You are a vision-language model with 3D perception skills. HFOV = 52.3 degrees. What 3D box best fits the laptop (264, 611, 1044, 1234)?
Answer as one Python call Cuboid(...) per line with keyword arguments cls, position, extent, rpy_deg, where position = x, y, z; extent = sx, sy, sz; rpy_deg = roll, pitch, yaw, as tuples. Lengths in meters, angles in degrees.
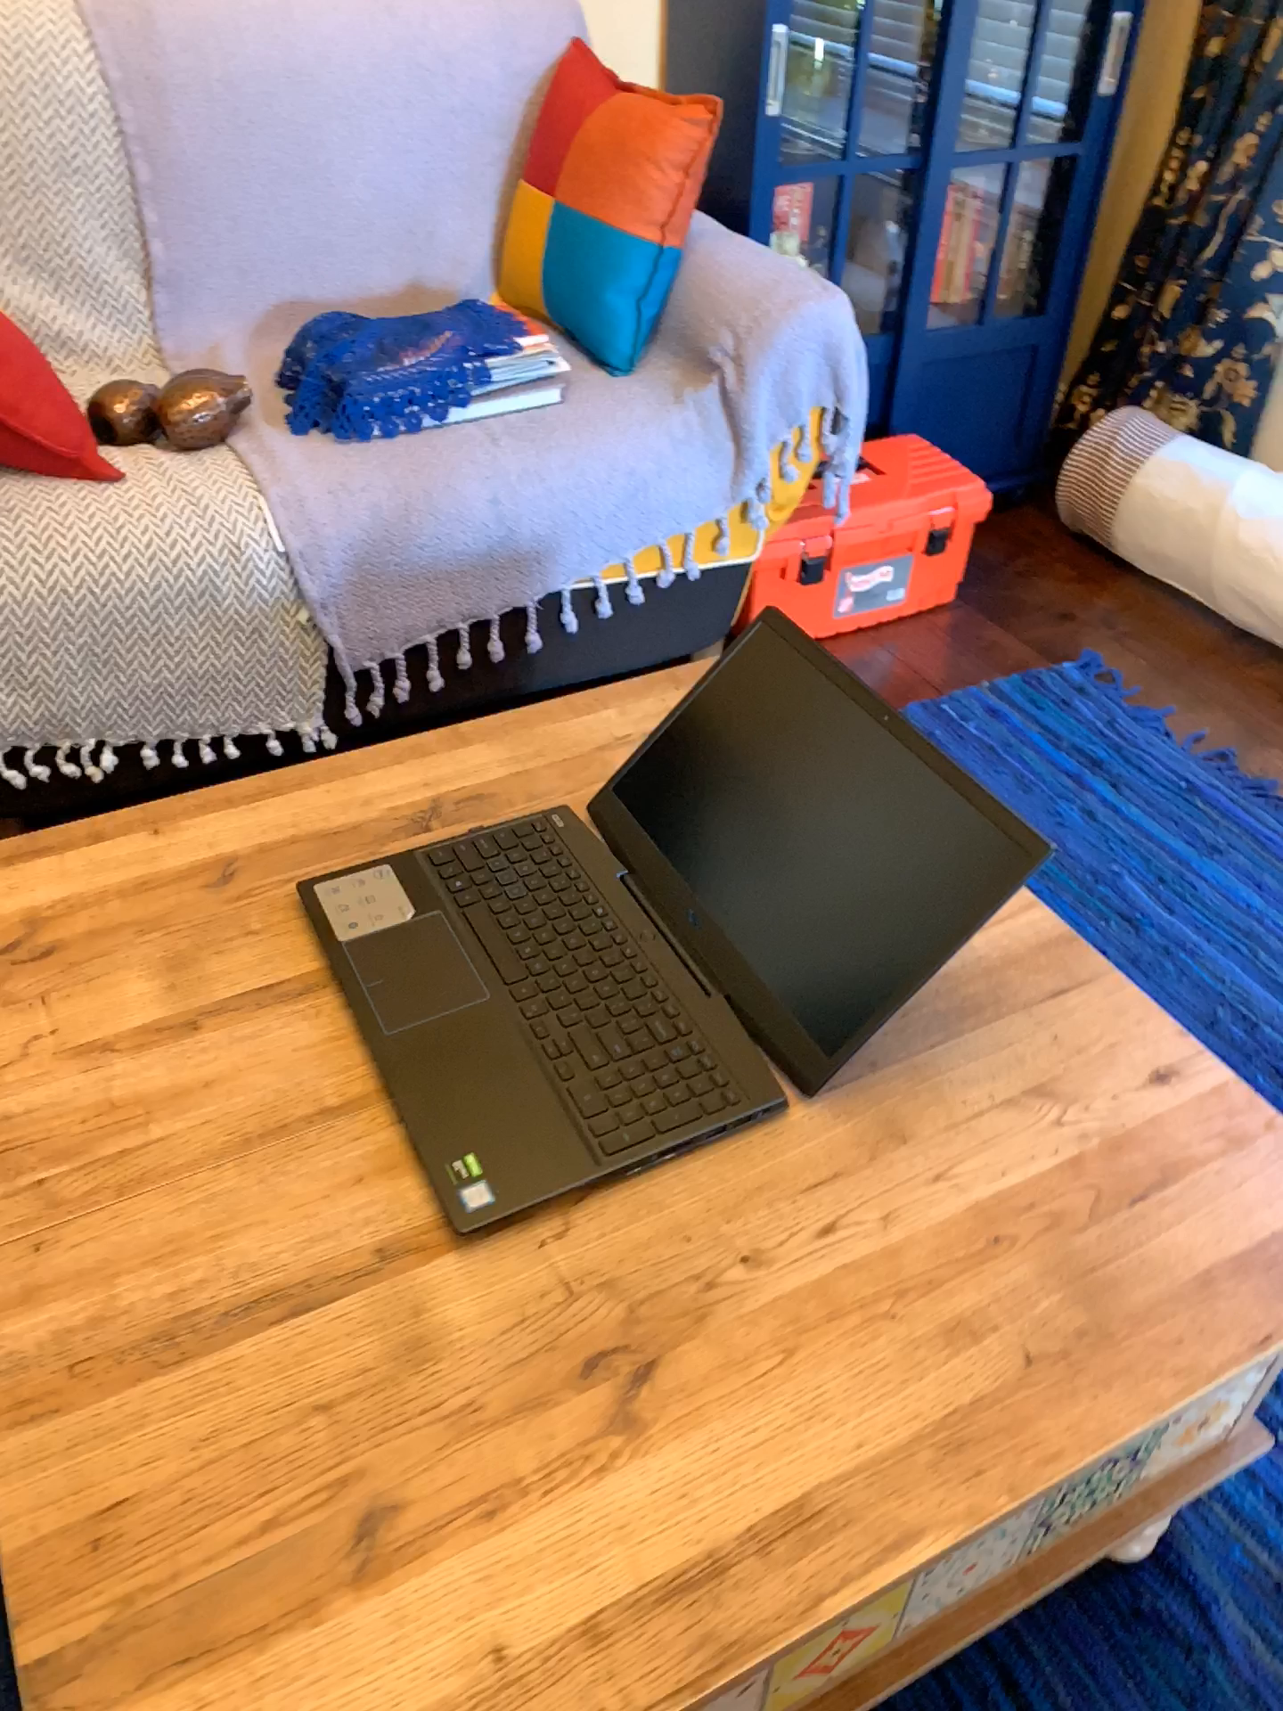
Cuboid(cls="laptop", position=(-0.006, 0.013, 0.939), extent=(0.418, 0.156, 0.347), rpy_deg=(-17, 43, -22))
